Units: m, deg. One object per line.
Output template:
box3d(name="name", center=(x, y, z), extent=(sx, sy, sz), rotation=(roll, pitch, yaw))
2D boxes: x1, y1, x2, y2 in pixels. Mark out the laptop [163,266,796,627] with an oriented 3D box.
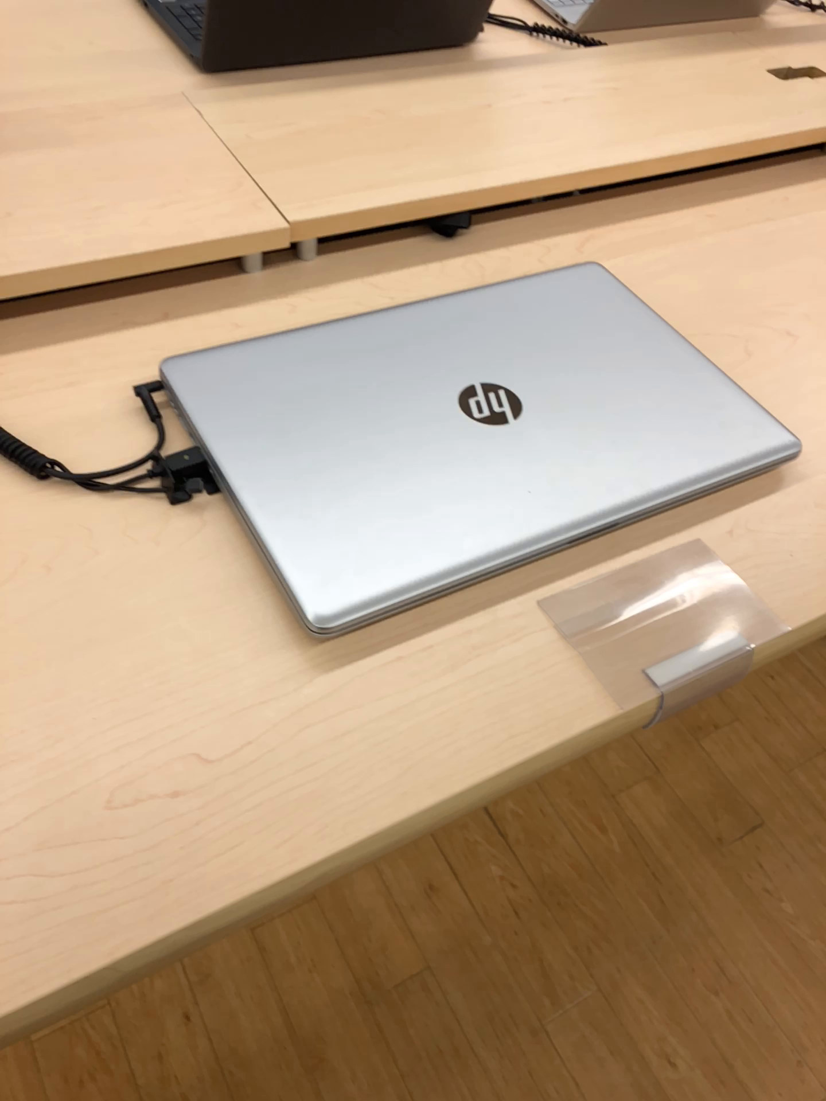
box3d(name="laptop", center=(0.053, -0.106, 0.673), extent=(0.398, 0.001, 0.258), rotation=(-20, 55, -24))
